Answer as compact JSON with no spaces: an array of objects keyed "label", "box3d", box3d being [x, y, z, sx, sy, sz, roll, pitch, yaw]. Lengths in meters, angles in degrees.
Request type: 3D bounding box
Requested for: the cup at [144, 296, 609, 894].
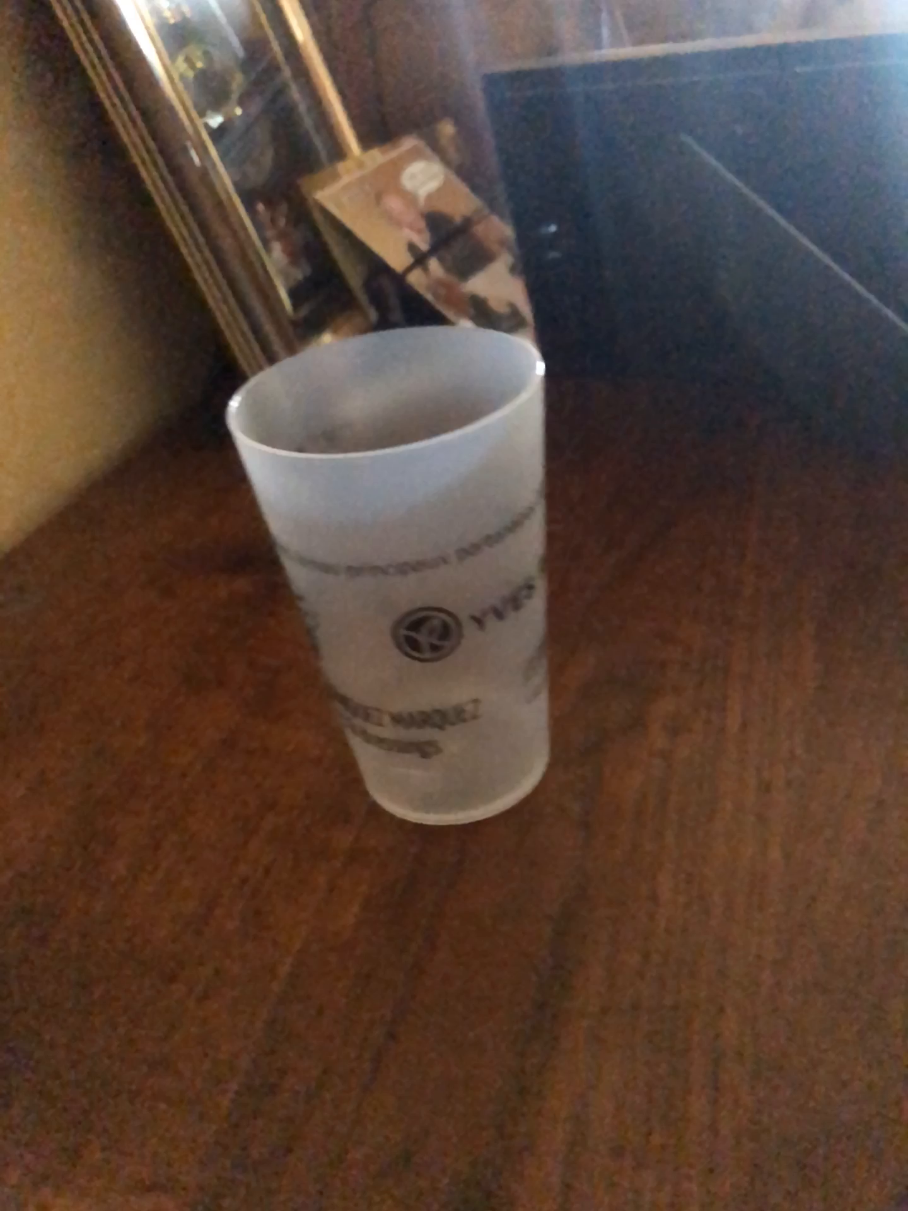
[{"label":"cup","box3d":[-0.010,-0.005,0.254,0.070,0.119,0.070,-6,34,4]}]
